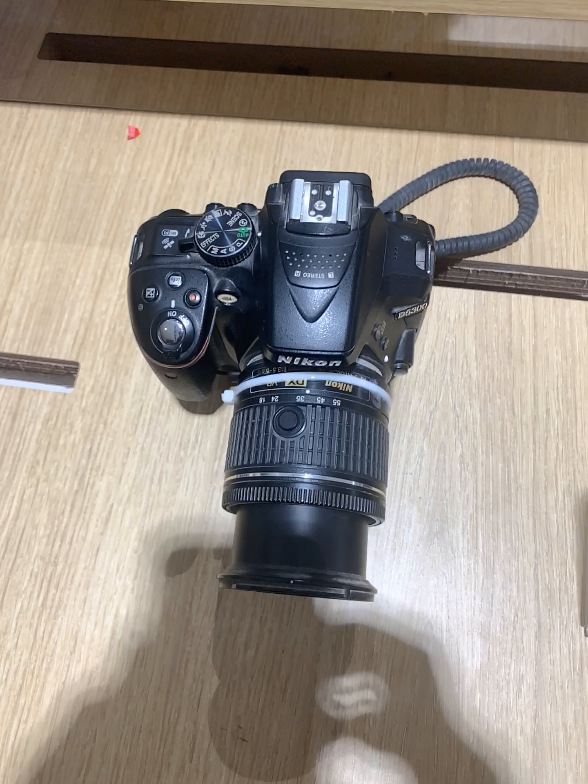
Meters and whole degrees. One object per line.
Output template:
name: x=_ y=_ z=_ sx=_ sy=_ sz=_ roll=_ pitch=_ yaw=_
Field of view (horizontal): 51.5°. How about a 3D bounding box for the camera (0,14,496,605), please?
camera: x=-0.012 y=-0.028 z=0.260 sx=0.160 sy=0.120 sz=0.210 roll=4 pitch=71 yaw=6
